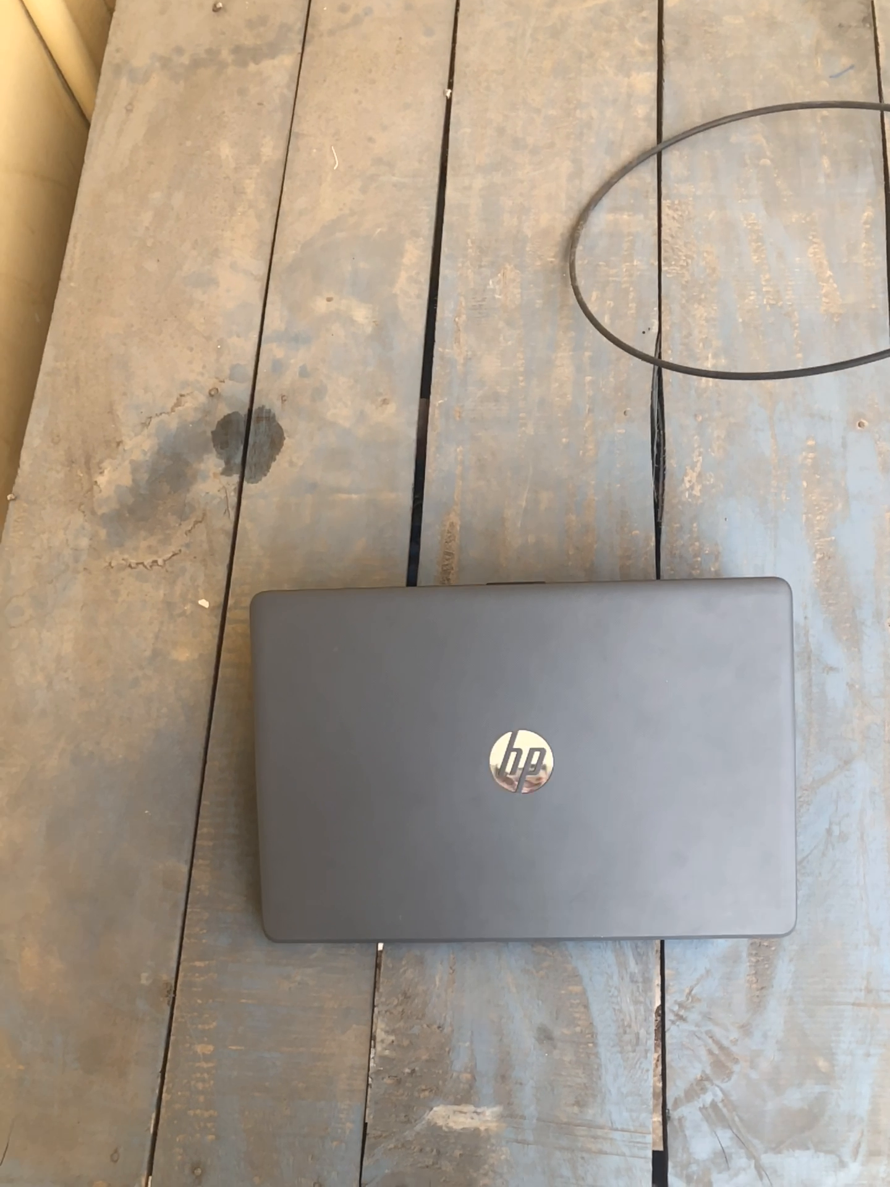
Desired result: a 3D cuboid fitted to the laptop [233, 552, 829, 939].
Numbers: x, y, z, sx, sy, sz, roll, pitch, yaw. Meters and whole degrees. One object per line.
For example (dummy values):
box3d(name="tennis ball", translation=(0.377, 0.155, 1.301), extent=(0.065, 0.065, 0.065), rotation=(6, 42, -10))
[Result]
box3d(name="laptop", translation=(0.051, 0.107, 0.677), extent=(0.361, 0.096, 0.243), rotation=(-1, 73, 3))
